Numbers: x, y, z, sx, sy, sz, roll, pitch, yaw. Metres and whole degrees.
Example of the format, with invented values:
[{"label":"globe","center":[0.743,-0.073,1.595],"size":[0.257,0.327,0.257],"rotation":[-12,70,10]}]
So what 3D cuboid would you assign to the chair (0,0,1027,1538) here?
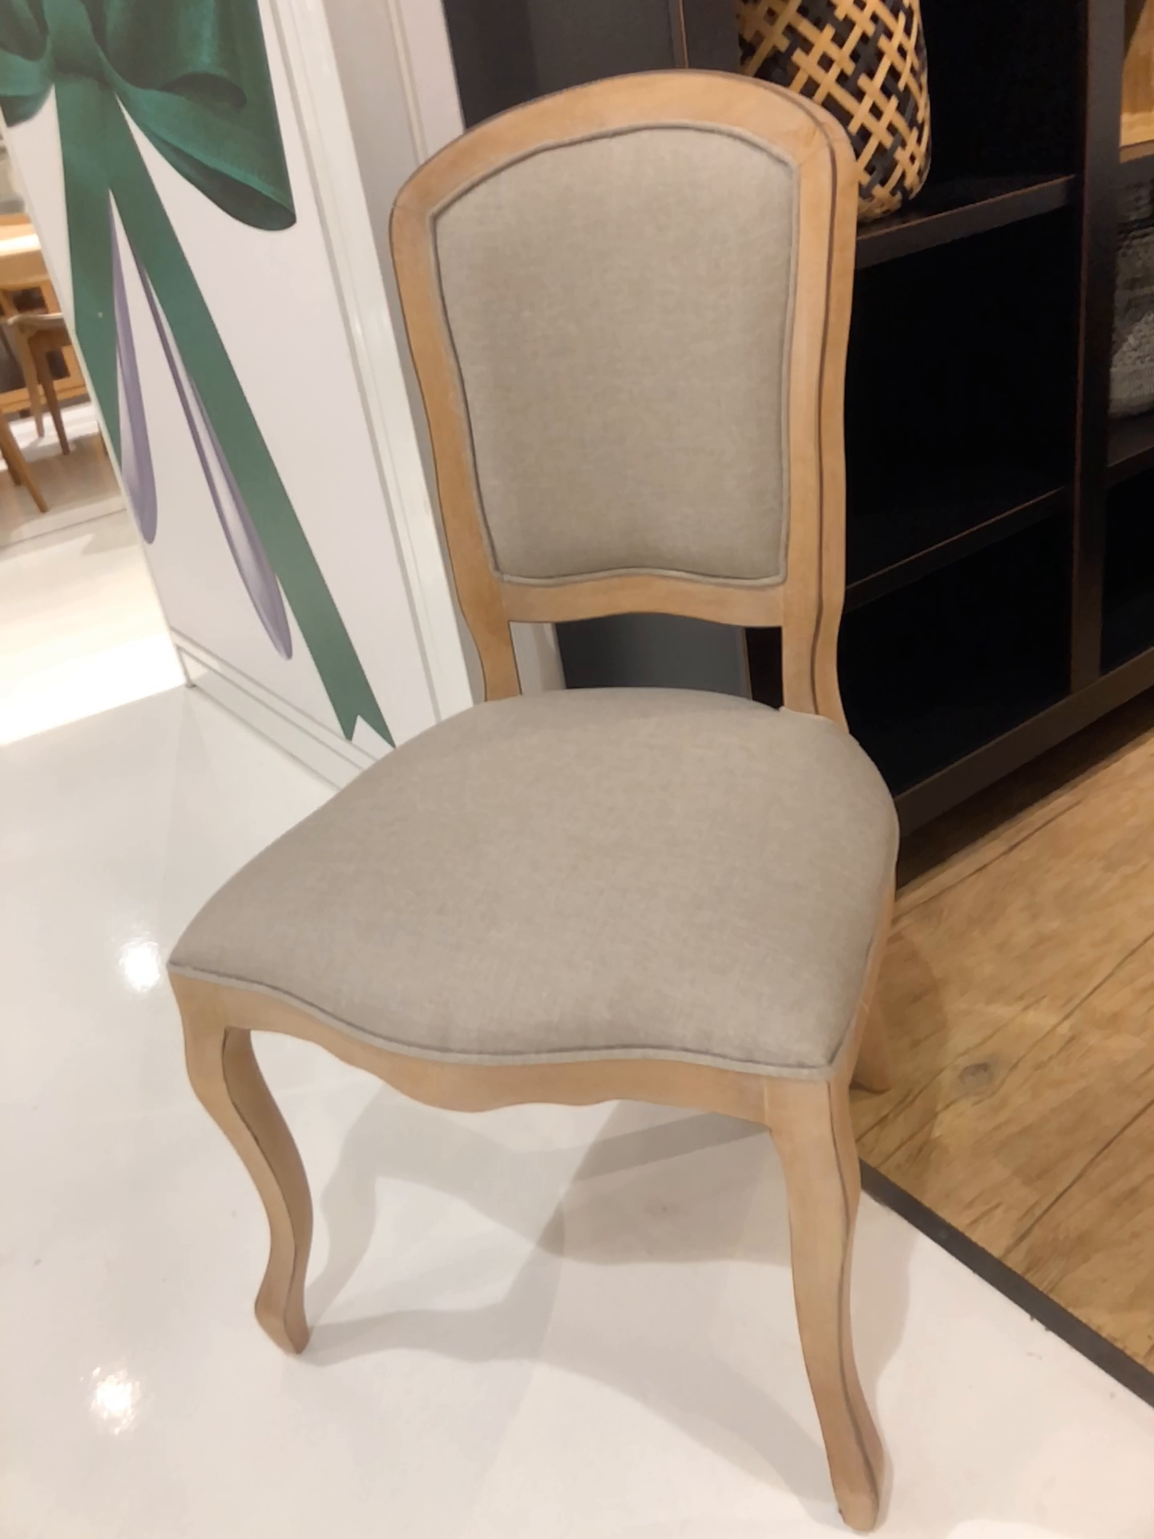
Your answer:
[{"label":"chair","center":[-0.012,-0.035,0.951],"size":[0.601,0.873,0.553],"rotation":[4,31,24]}]
